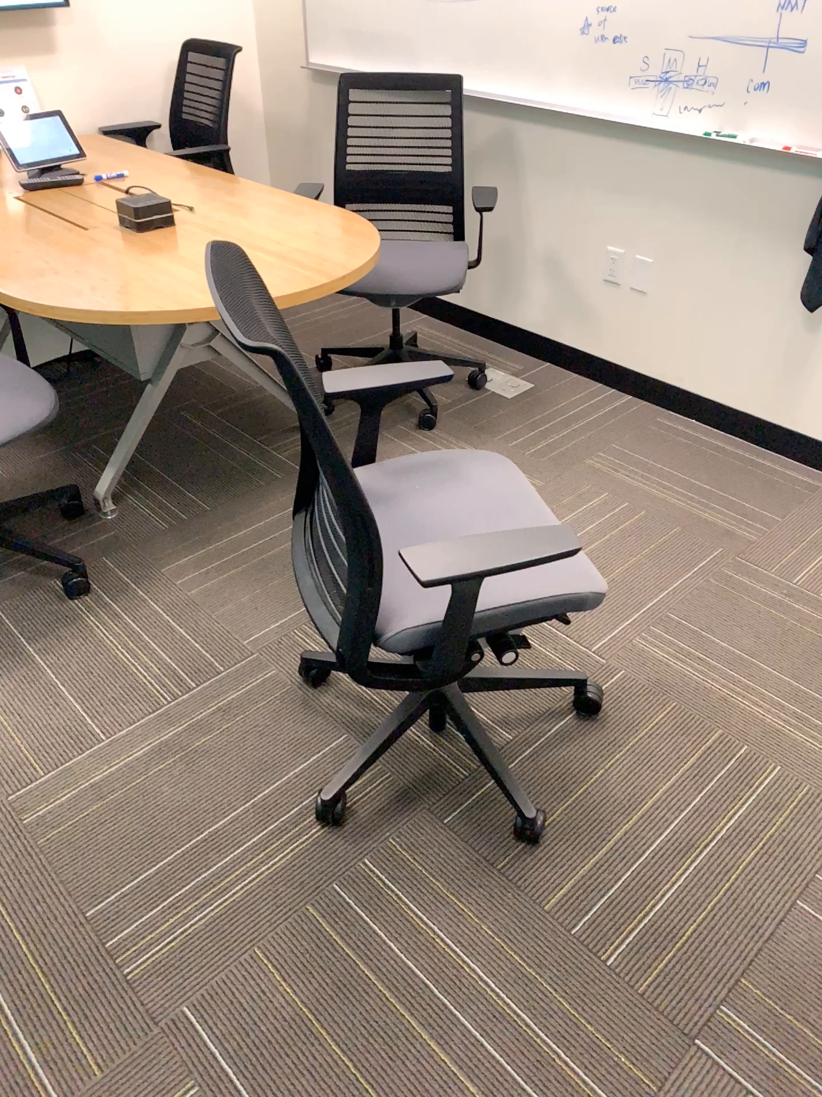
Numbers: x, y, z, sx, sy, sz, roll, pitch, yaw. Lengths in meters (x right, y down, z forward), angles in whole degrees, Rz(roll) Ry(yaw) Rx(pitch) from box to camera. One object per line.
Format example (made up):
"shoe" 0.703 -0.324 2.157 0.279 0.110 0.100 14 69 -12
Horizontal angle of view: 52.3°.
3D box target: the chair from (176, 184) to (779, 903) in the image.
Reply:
"chair" 0.030 -0.020 1.495 0.690 0.994 0.654 -9 38 -12
